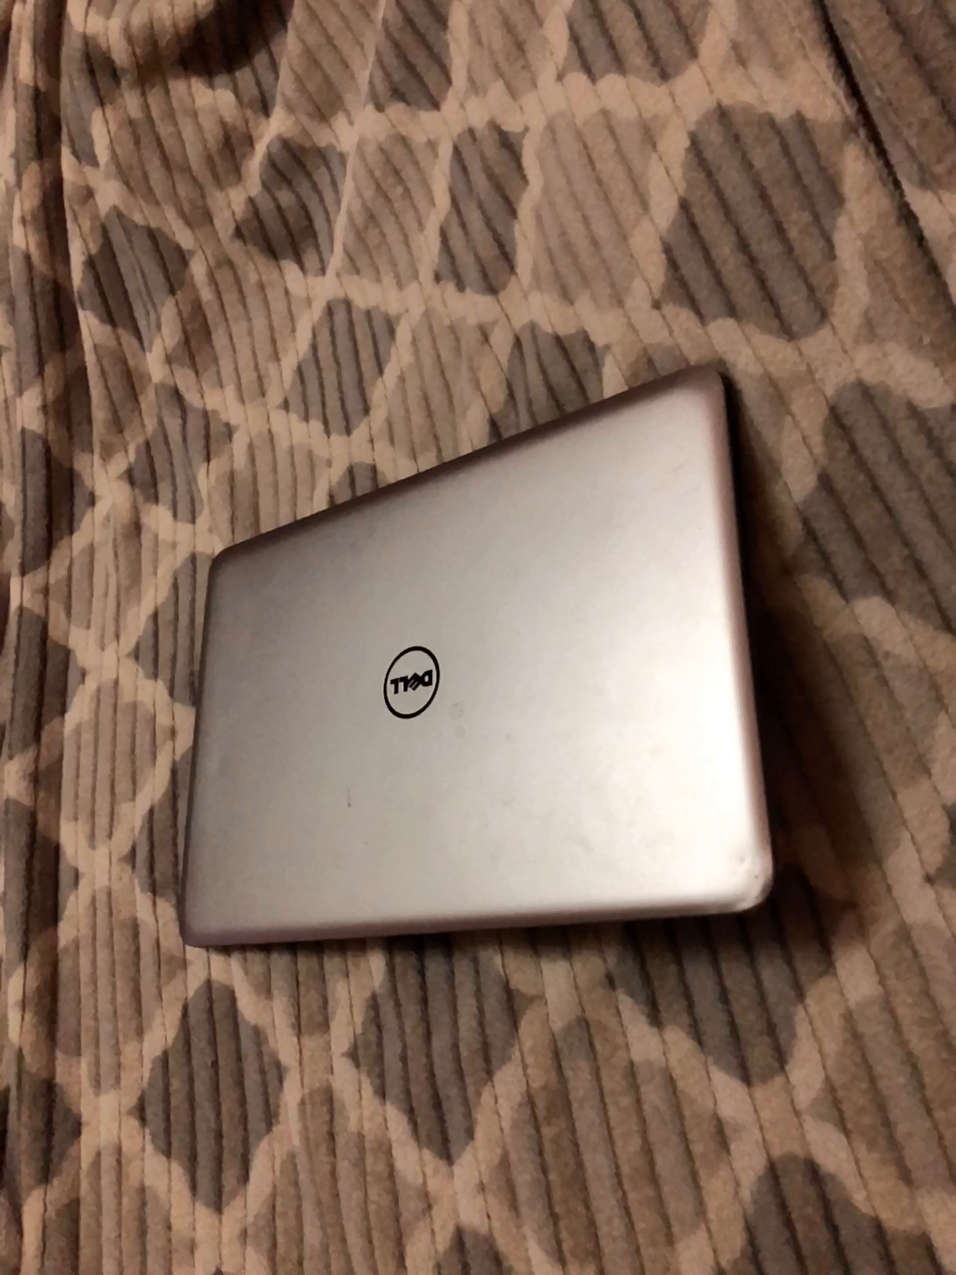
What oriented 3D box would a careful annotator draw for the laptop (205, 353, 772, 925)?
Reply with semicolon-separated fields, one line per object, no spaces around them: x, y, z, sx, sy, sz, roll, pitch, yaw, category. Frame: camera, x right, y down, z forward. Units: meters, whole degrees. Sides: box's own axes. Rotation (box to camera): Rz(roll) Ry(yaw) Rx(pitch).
-0.024;0.019;0.579;0.359;0.007;0.252;-15;67;35;laptop
